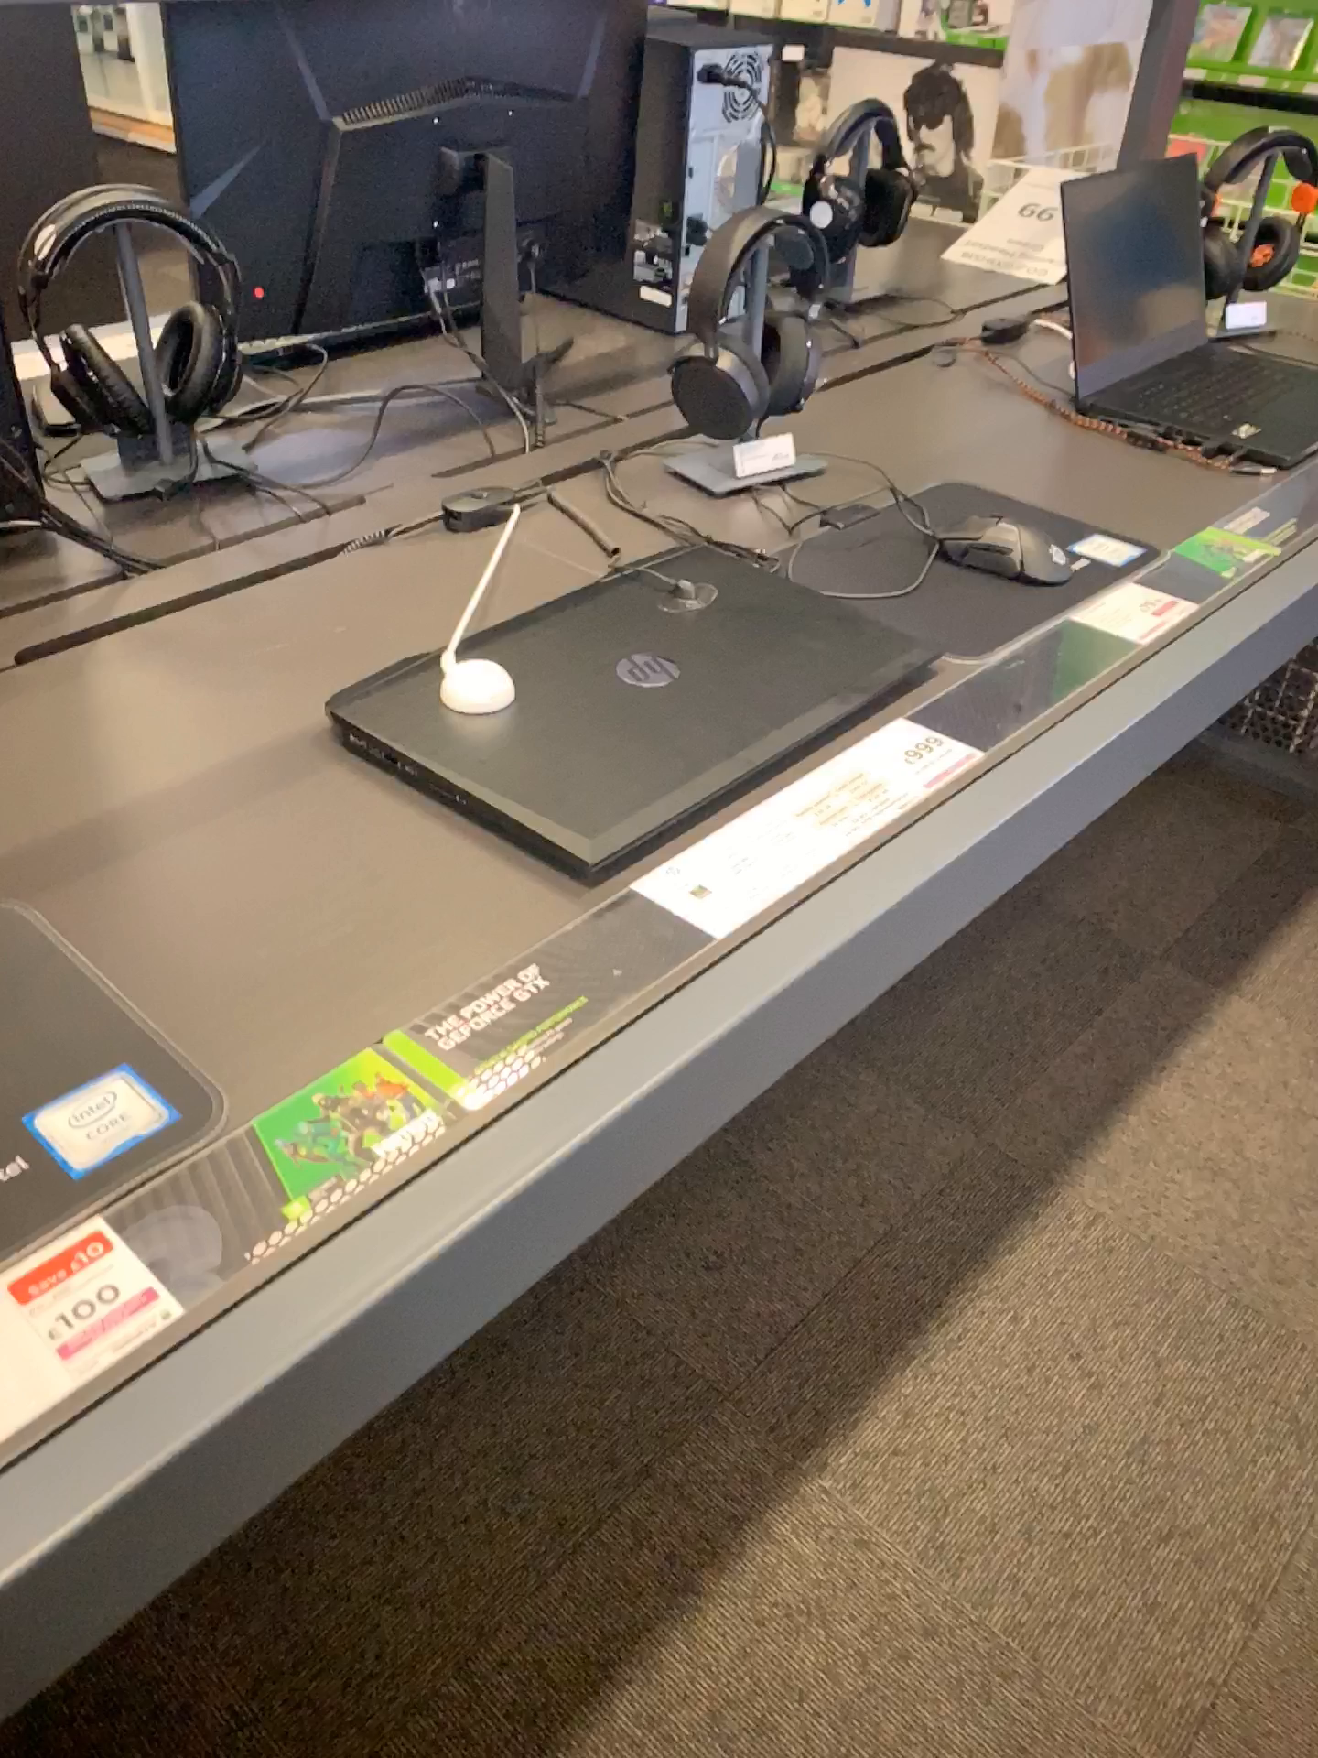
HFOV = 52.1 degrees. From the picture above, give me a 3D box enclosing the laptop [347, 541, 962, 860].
[{"bbox_3d":[0.008,-0.153,0.993,0.257,0.001,0.396,30,45,31],"label":"laptop"}]
